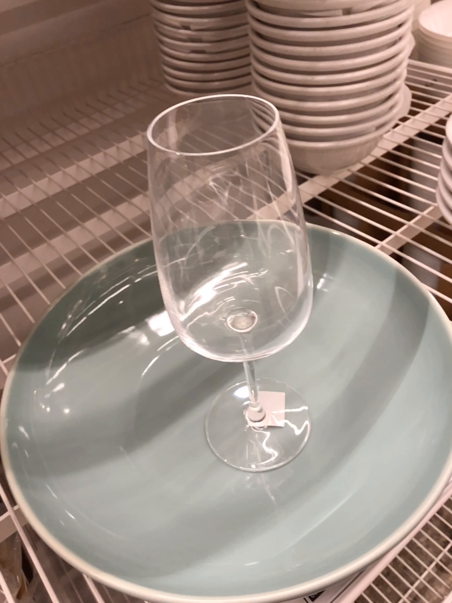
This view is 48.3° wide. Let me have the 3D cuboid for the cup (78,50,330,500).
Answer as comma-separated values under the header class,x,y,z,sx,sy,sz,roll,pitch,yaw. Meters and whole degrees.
class,x,y,z,sx,sy,sz,roll,pitch,yaw
cup,0.003,0.007,0.331,0.100,0.279,0.100,-6,42,6
